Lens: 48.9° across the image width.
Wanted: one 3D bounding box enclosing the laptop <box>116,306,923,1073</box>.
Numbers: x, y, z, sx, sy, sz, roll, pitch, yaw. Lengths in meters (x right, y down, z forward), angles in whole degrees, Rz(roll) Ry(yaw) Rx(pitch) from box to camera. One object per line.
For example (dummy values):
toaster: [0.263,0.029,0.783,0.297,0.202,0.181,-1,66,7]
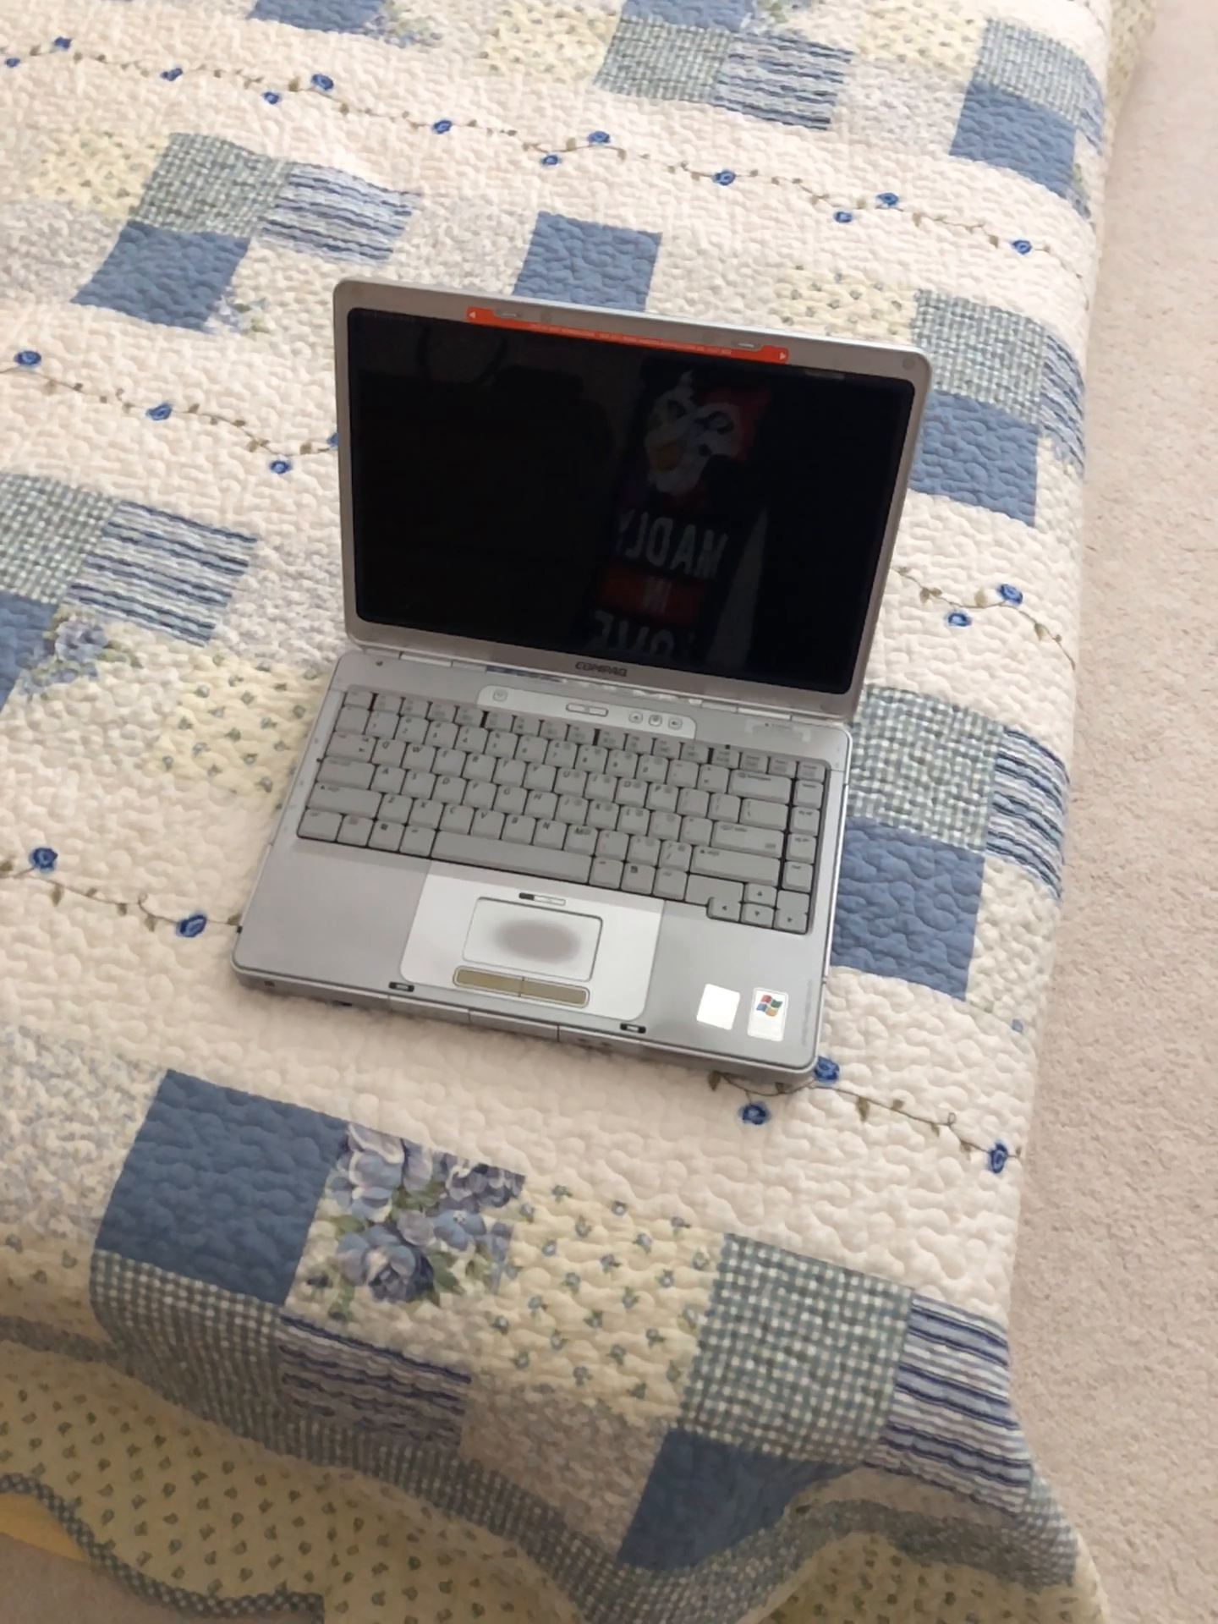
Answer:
laptop: [-0.021,-0.070,0.724,0.322,0.193,0.327,9,60,5]
